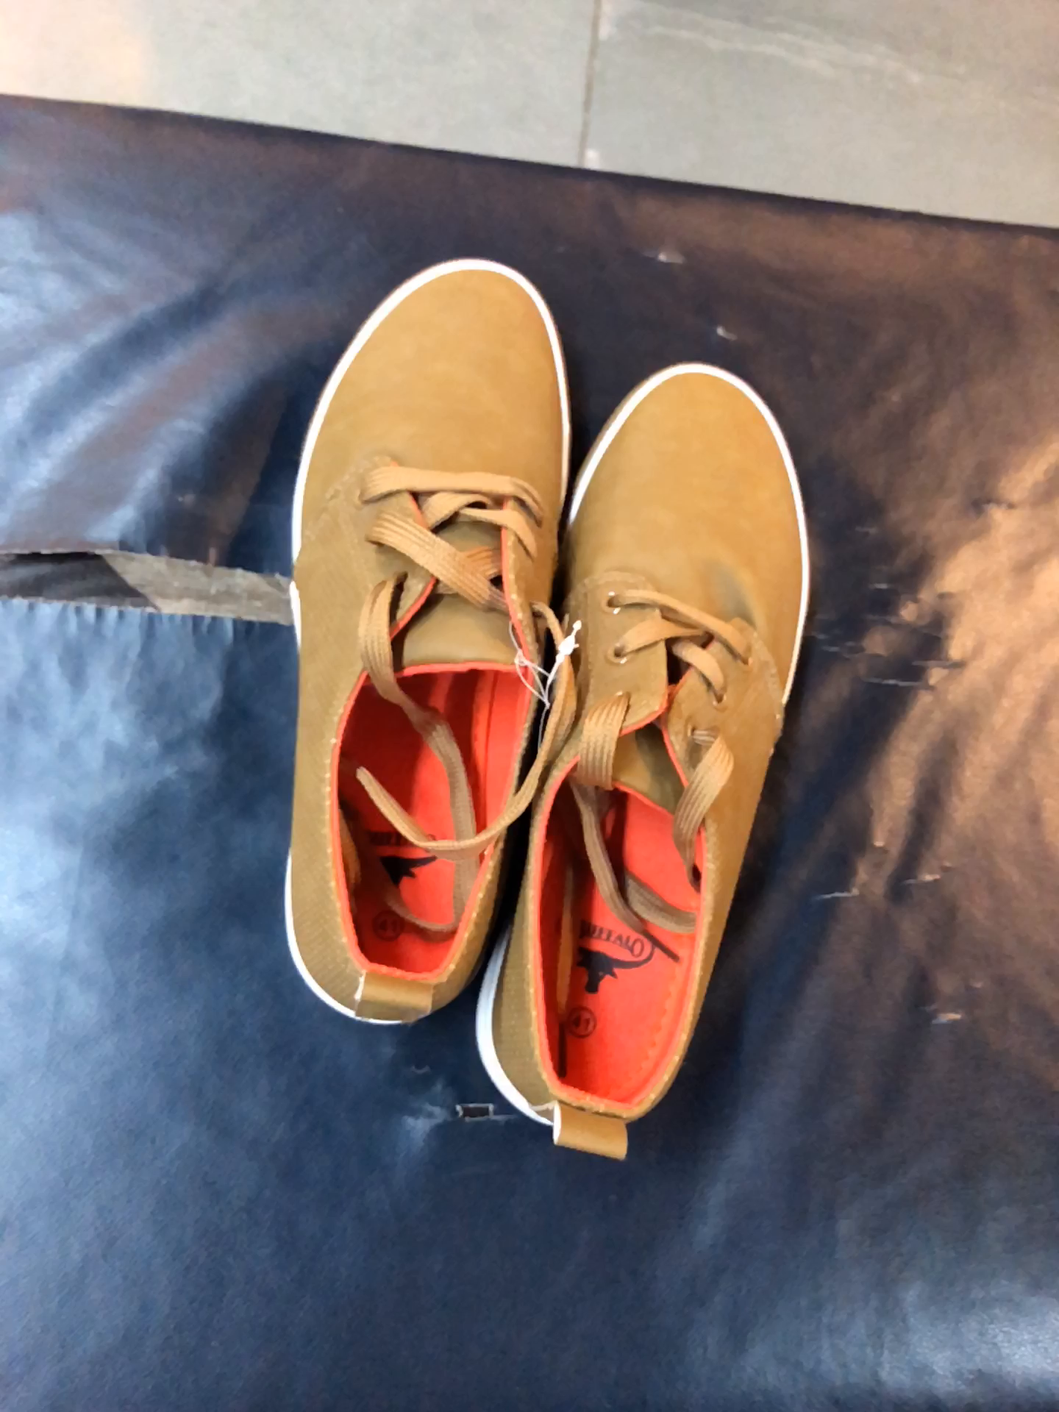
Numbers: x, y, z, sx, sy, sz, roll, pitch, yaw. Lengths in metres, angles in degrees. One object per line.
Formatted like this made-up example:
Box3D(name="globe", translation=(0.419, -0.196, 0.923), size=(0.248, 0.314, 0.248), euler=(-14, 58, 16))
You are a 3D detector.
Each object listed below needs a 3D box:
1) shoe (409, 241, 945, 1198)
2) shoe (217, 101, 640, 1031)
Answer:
Box3D(name="shoe", translation=(0.047, 0.001, 0.372), size=(0.095, 0.091, 0.261), euler=(17, 72, -5))
Box3D(name="shoe", translation=(-0.028, -0.038, 0.372), size=(0.100, 0.097, 0.266), euler=(5, 73, -9))
